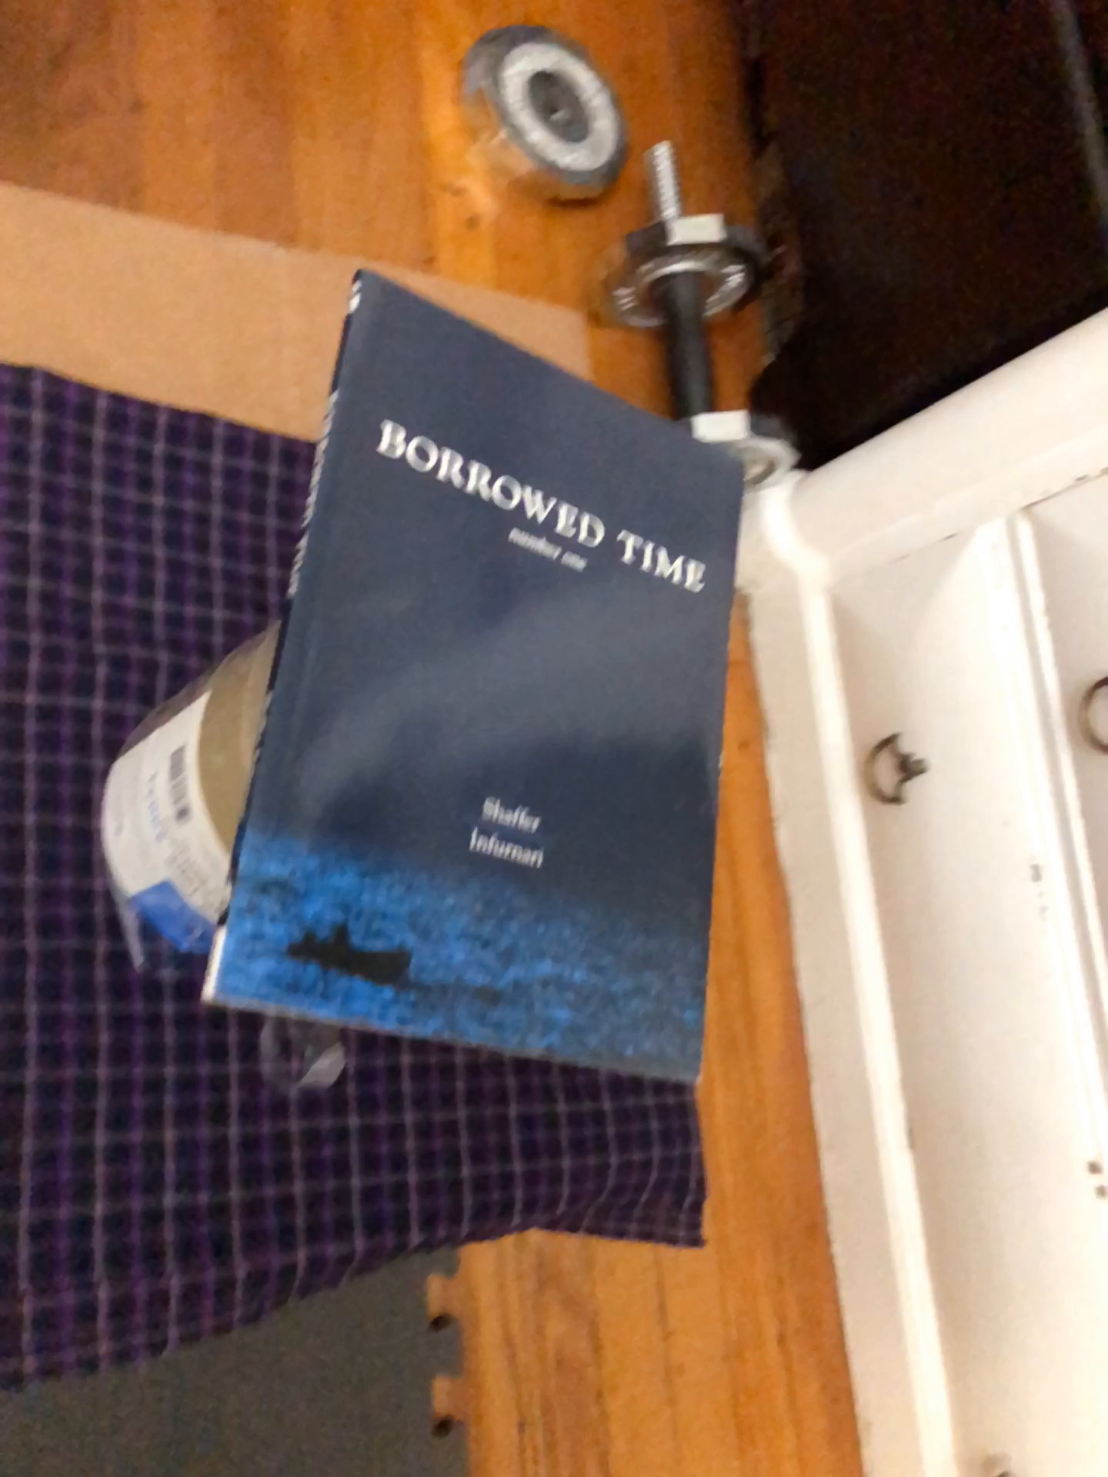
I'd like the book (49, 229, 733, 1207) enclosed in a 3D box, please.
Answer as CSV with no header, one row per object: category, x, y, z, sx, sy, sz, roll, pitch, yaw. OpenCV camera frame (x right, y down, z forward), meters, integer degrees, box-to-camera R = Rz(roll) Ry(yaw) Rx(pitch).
book,-0.021,-0.006,0.326,0.160,0.010,0.231,20,64,-29
